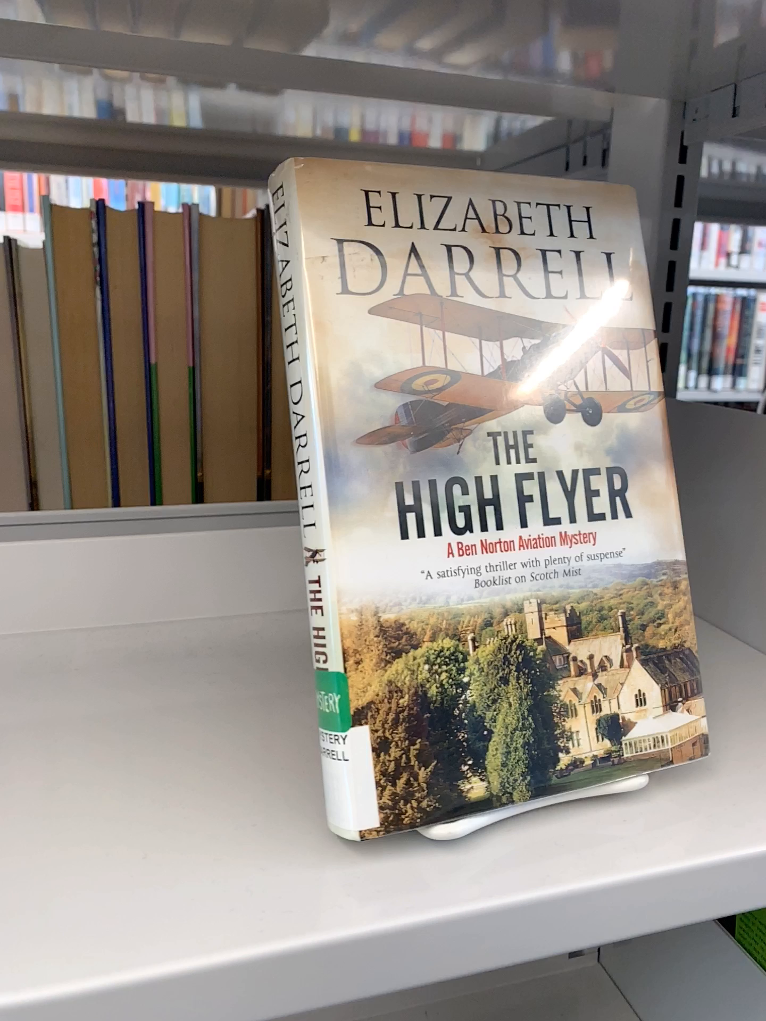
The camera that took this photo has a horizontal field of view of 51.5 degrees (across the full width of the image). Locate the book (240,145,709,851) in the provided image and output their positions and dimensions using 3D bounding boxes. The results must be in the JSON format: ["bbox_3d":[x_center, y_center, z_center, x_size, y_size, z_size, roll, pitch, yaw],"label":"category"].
[{"bbox_3d":[0.036,-0.011,0.284,0.151,0.214,0.031,-4,-3,-24],"label":"book"}]
